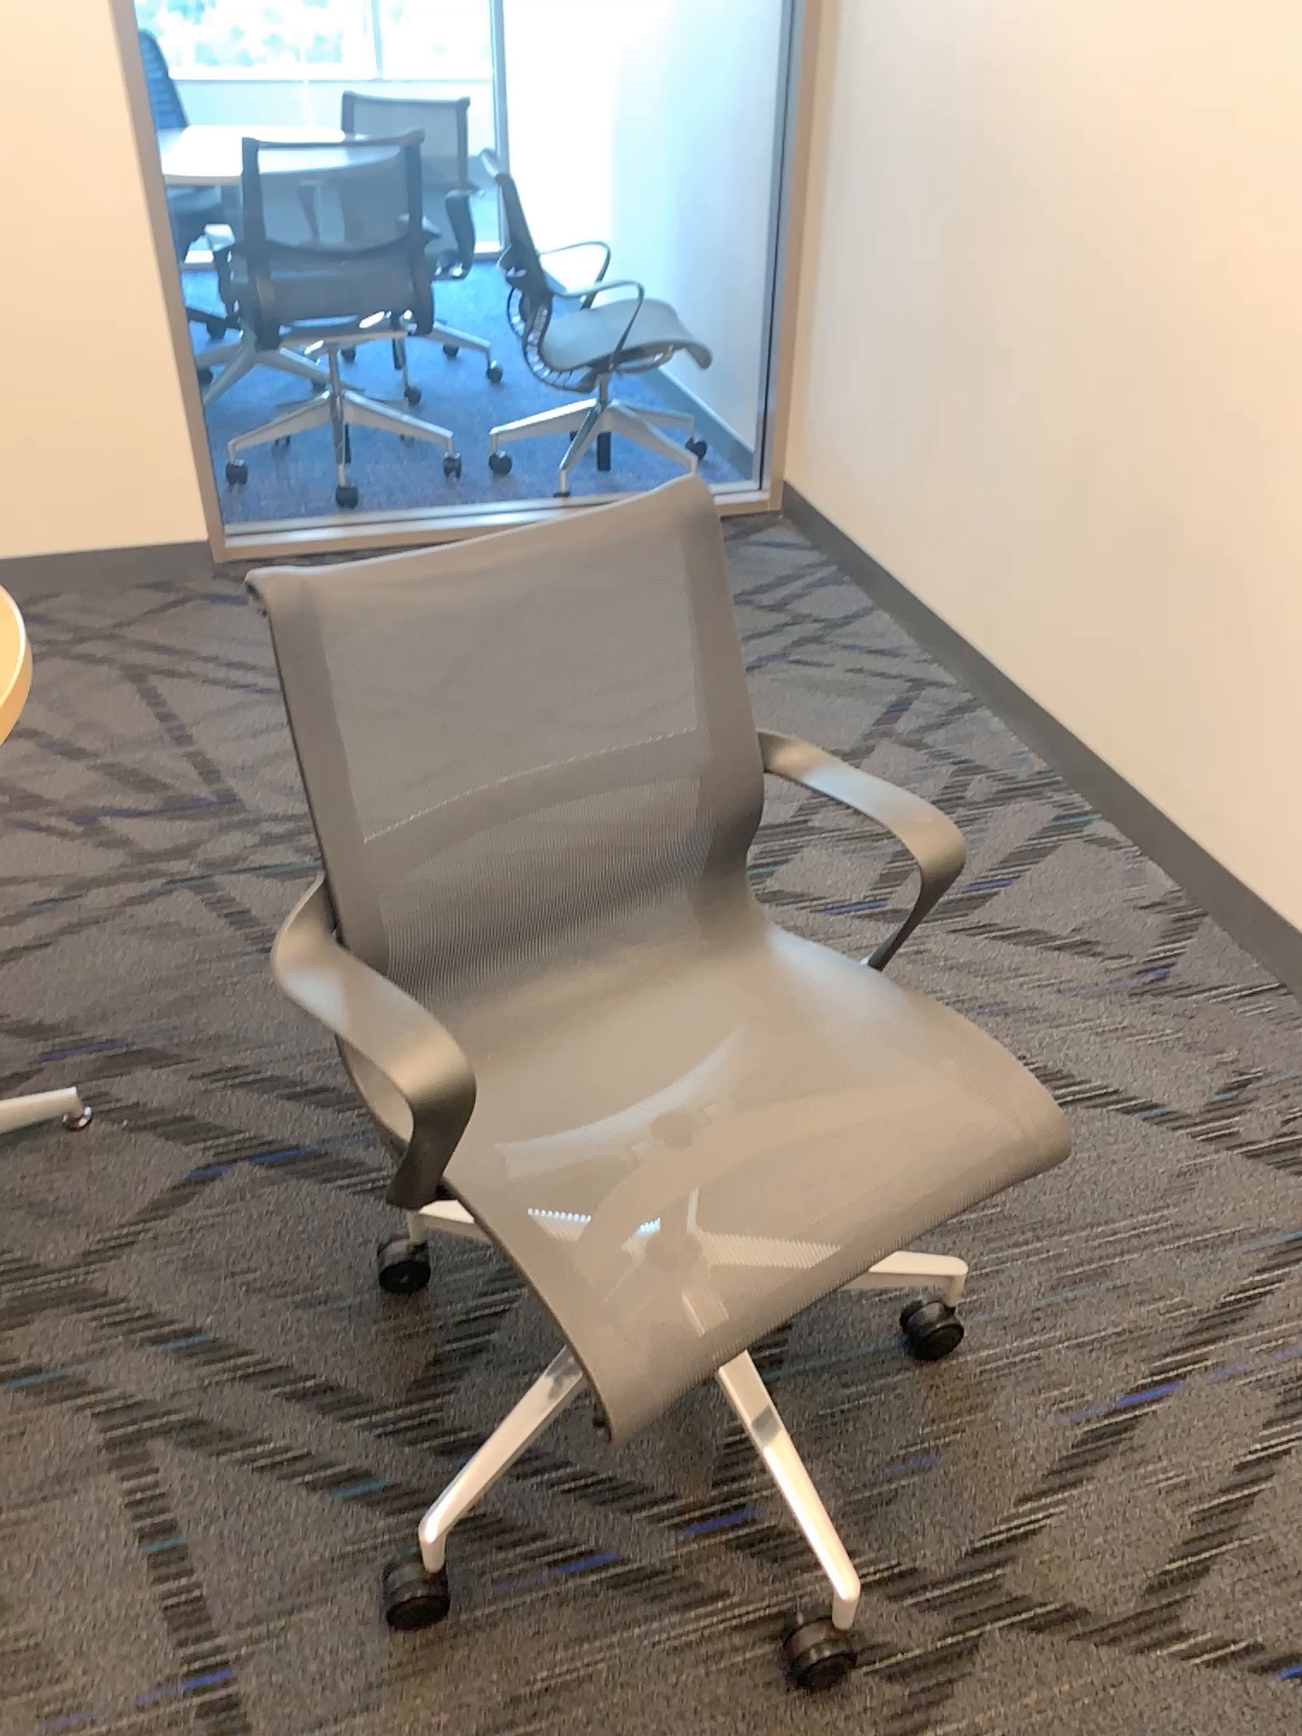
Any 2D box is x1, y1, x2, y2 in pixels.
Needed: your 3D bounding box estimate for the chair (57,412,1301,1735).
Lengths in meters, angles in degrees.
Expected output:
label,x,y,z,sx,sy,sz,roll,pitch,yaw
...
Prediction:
label,x,y,z,sx,sy,sz,roll,pitch,yaw
chair,0.081,0.162,1.053,0.682,0.753,0.704,-24,41,-30
